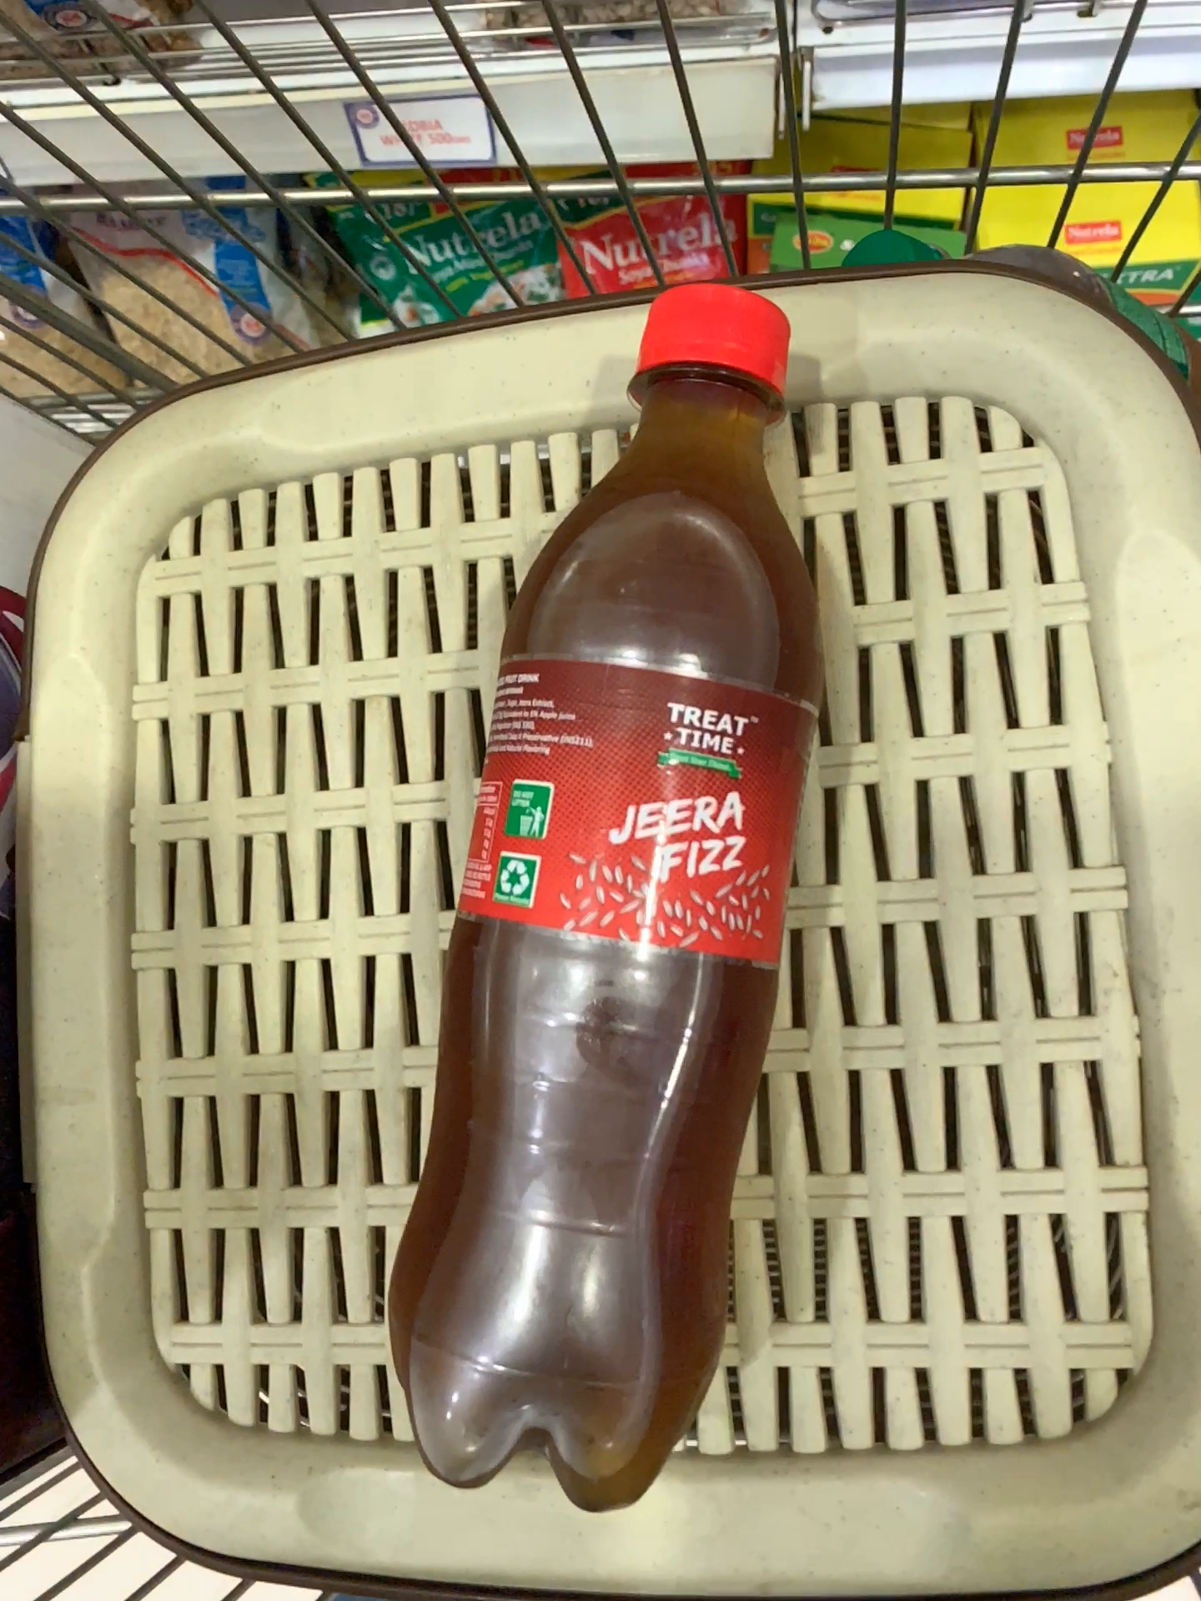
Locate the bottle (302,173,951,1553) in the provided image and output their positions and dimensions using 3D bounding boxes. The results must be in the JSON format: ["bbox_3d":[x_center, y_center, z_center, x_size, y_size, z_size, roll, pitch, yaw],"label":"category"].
[{"bbox_3d":[0.002,0.012,0.249,0.080,0.070,0.230,11,84,-13],"label":"bottle"}]
